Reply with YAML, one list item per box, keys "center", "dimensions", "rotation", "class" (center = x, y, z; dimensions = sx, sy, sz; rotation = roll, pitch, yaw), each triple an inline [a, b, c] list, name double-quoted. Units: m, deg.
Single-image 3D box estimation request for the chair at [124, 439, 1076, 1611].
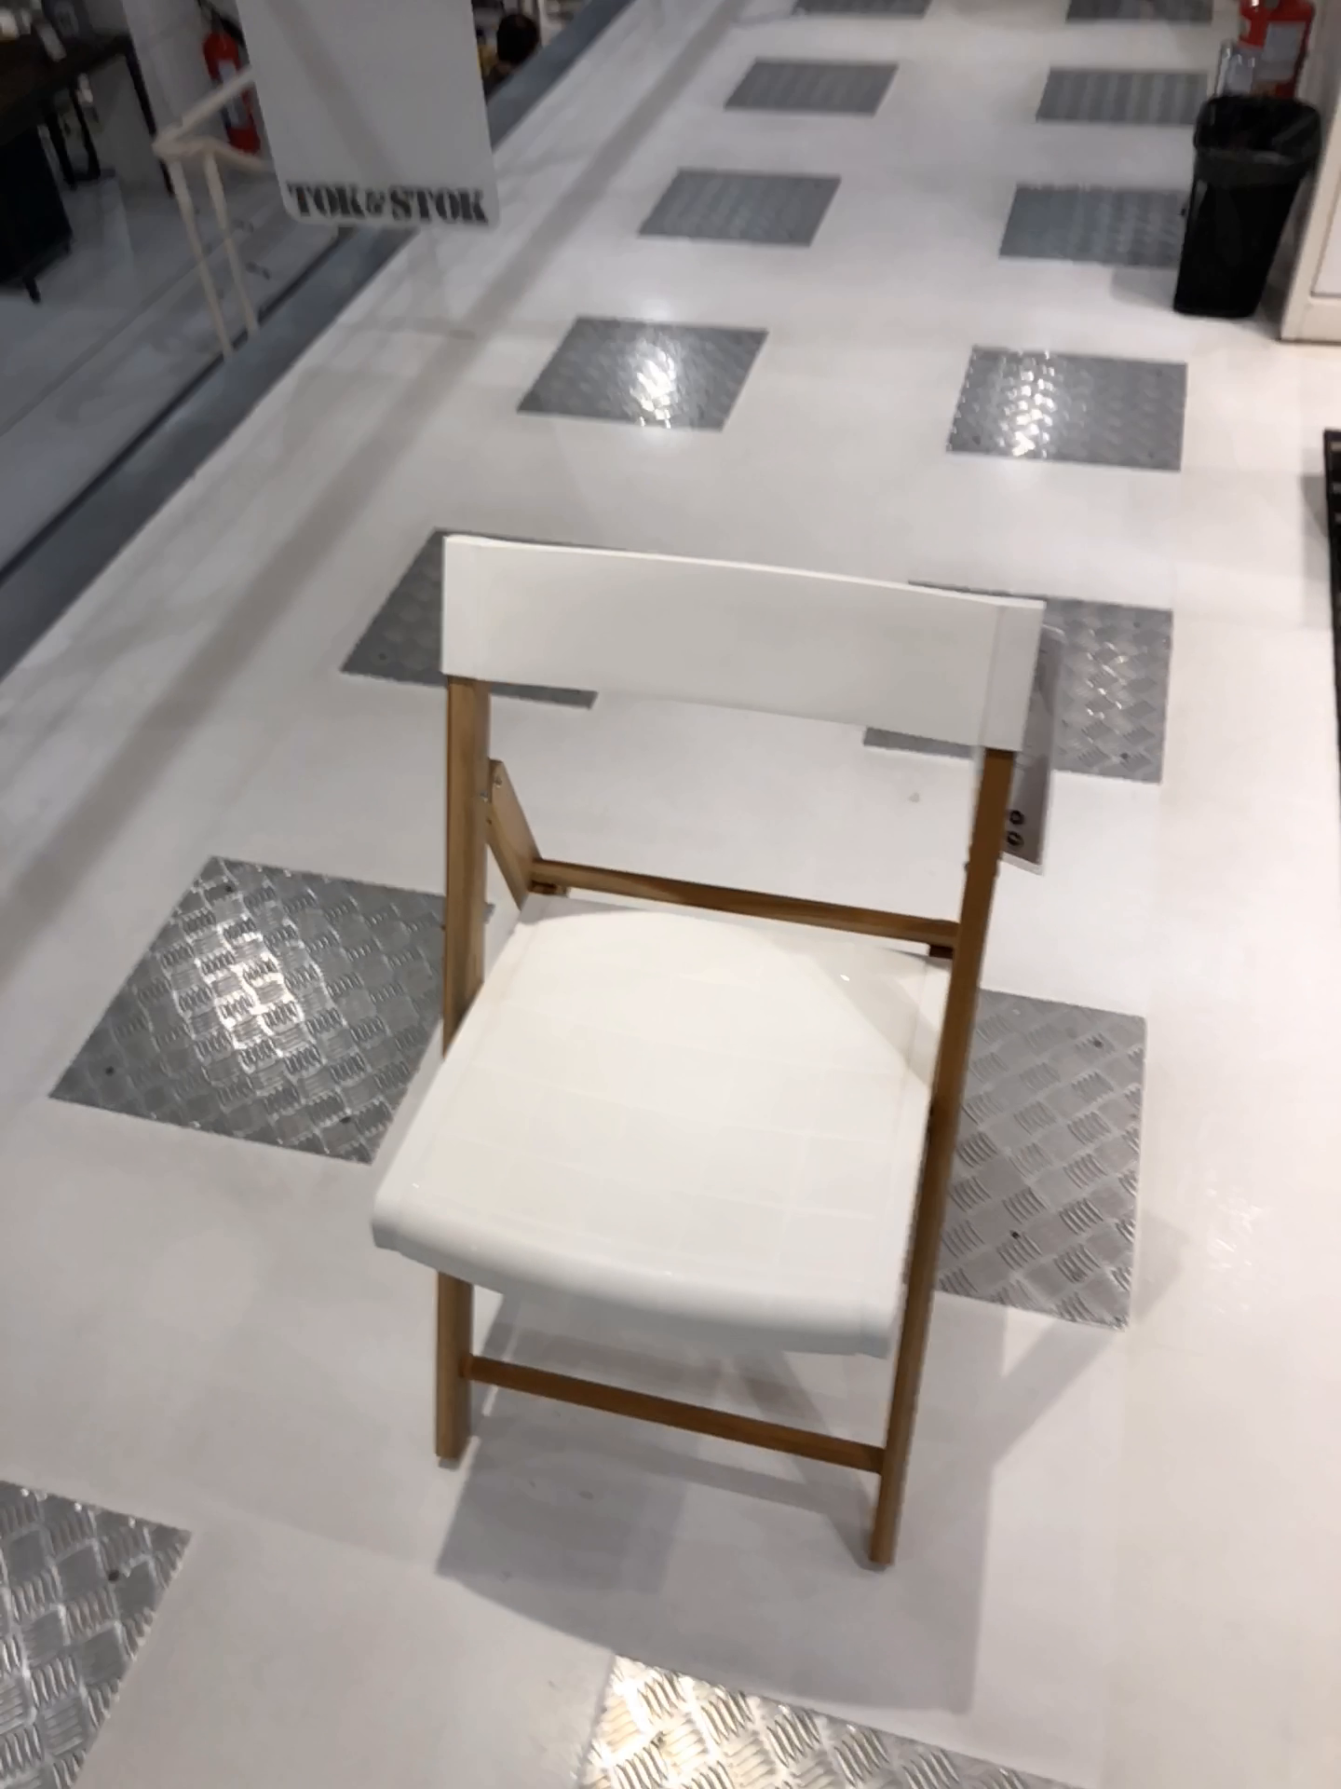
- center: [0.018, 0.112, 1.187]
  dimensions: [0.470, 0.706, 0.553]
  rotation: [8, 47, 12]
  class: "chair"
